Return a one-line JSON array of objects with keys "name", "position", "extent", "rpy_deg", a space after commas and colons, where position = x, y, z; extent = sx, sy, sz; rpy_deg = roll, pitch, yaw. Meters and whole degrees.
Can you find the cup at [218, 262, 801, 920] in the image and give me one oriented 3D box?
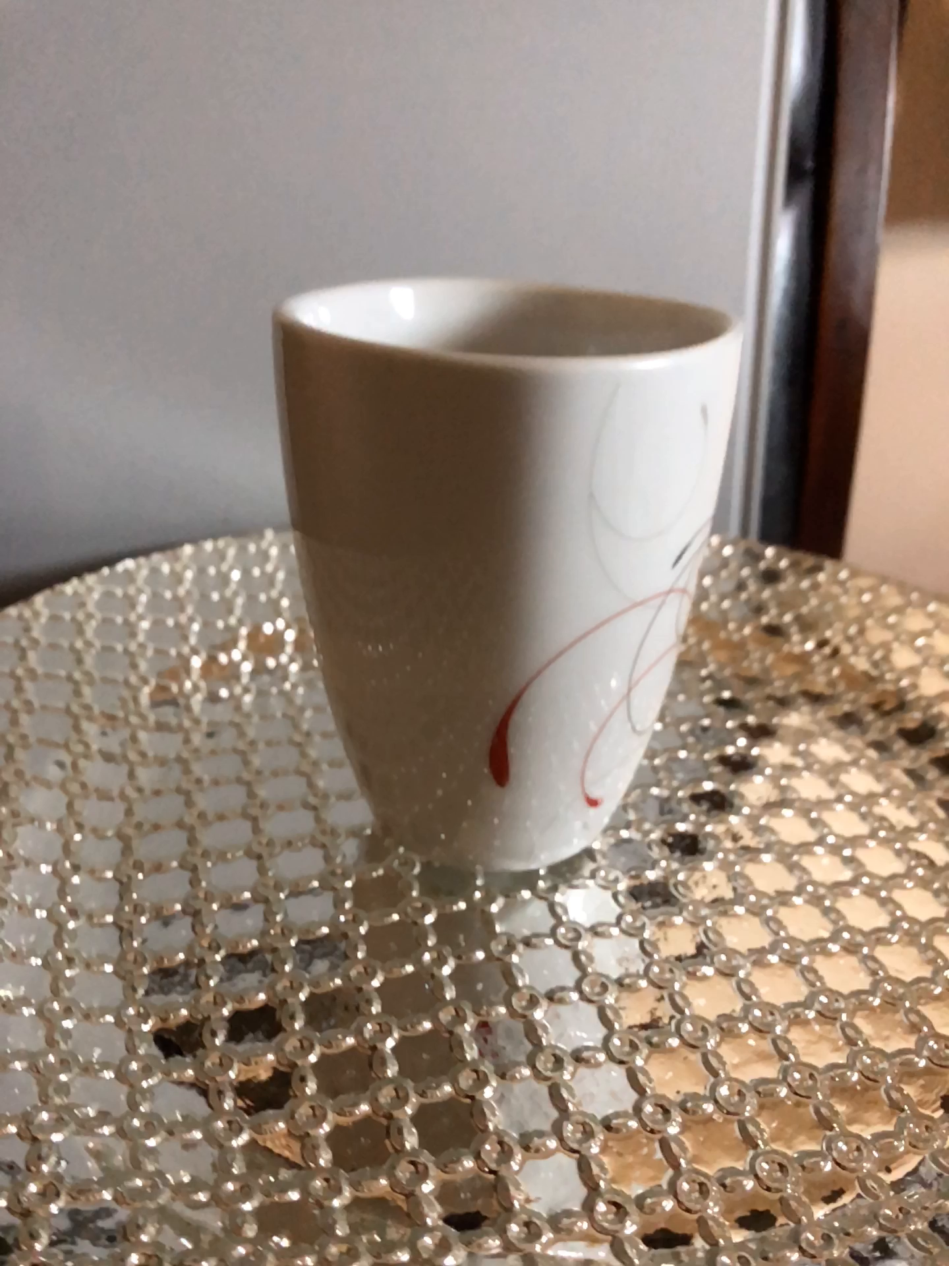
[{"name": "cup", "position": [0.013, -0.022, 0.237], "extent": [0.080, 0.100, 0.110], "rpy_deg": [13, 27, 22]}]
